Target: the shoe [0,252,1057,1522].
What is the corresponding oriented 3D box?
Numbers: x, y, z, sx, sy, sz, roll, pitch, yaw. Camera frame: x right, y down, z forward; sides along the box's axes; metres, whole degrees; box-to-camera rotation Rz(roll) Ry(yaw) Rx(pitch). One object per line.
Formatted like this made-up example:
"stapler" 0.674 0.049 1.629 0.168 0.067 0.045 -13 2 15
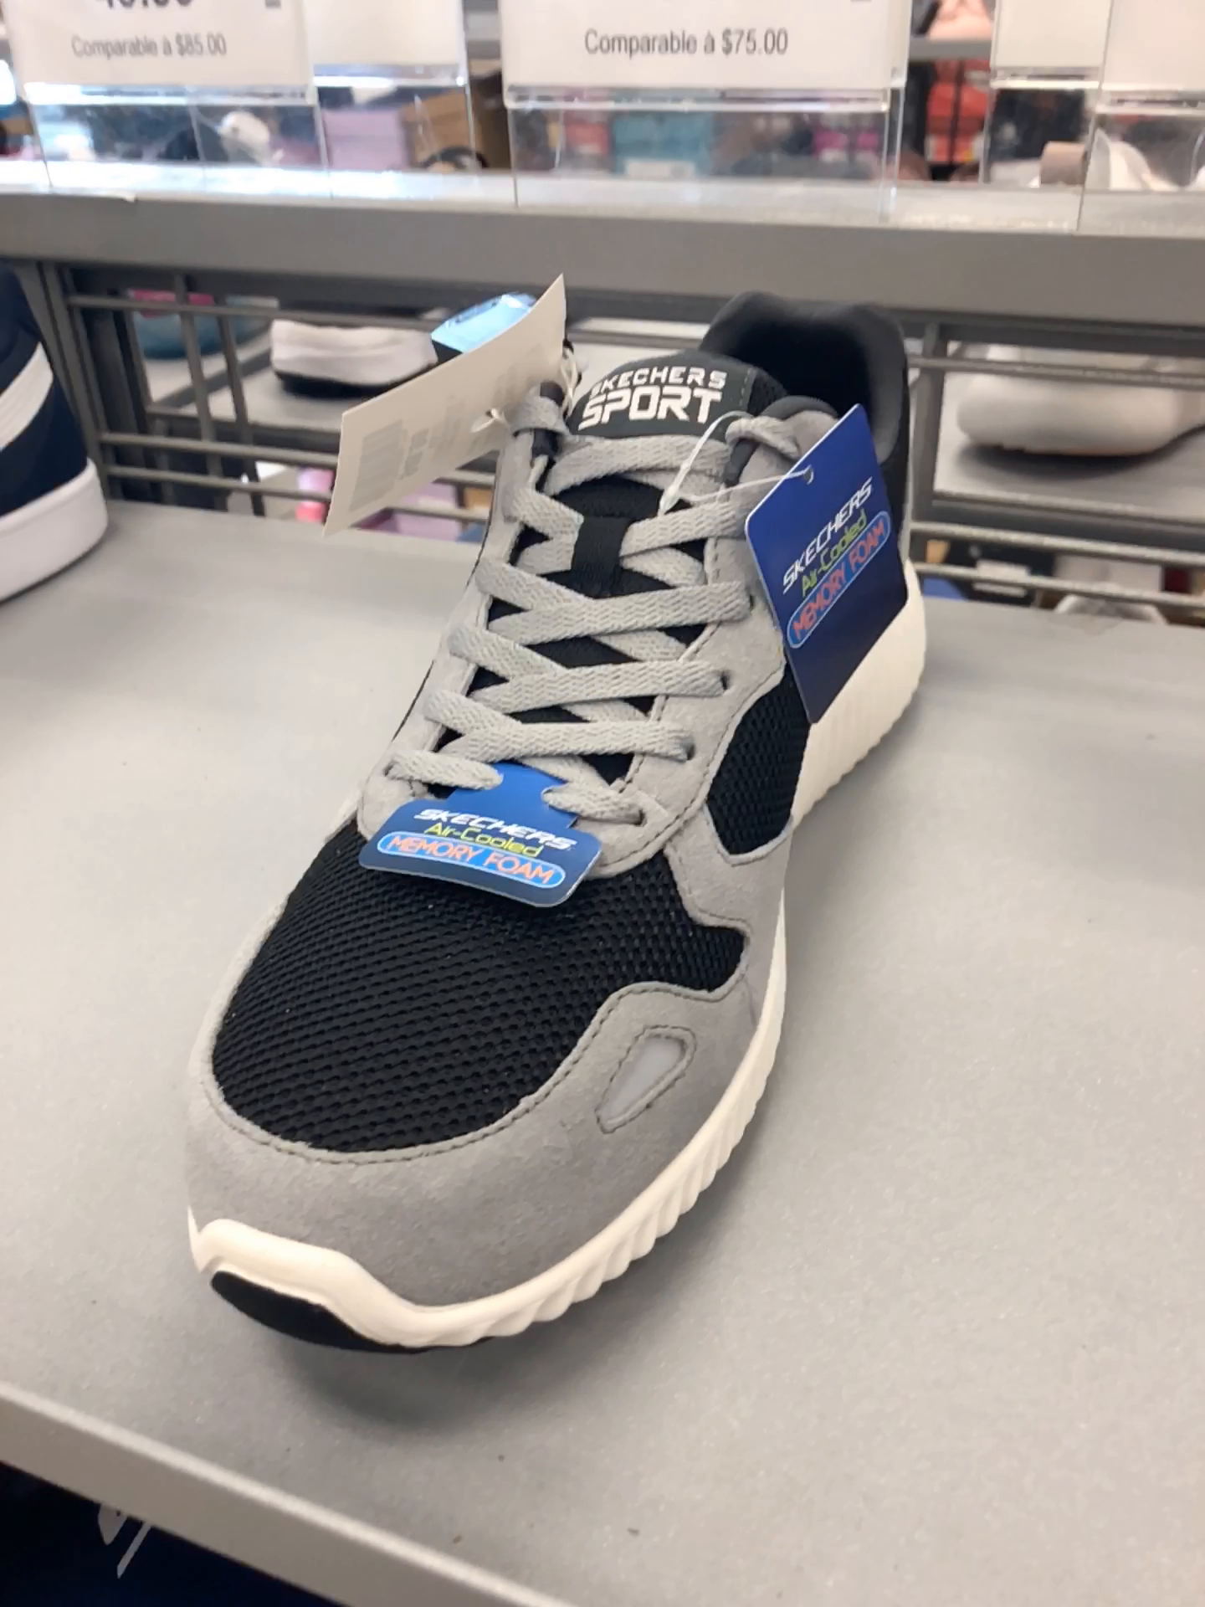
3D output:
"shoe" 0.006 -0.029 0.309 0.120 0.119 0.302 14 37 22
